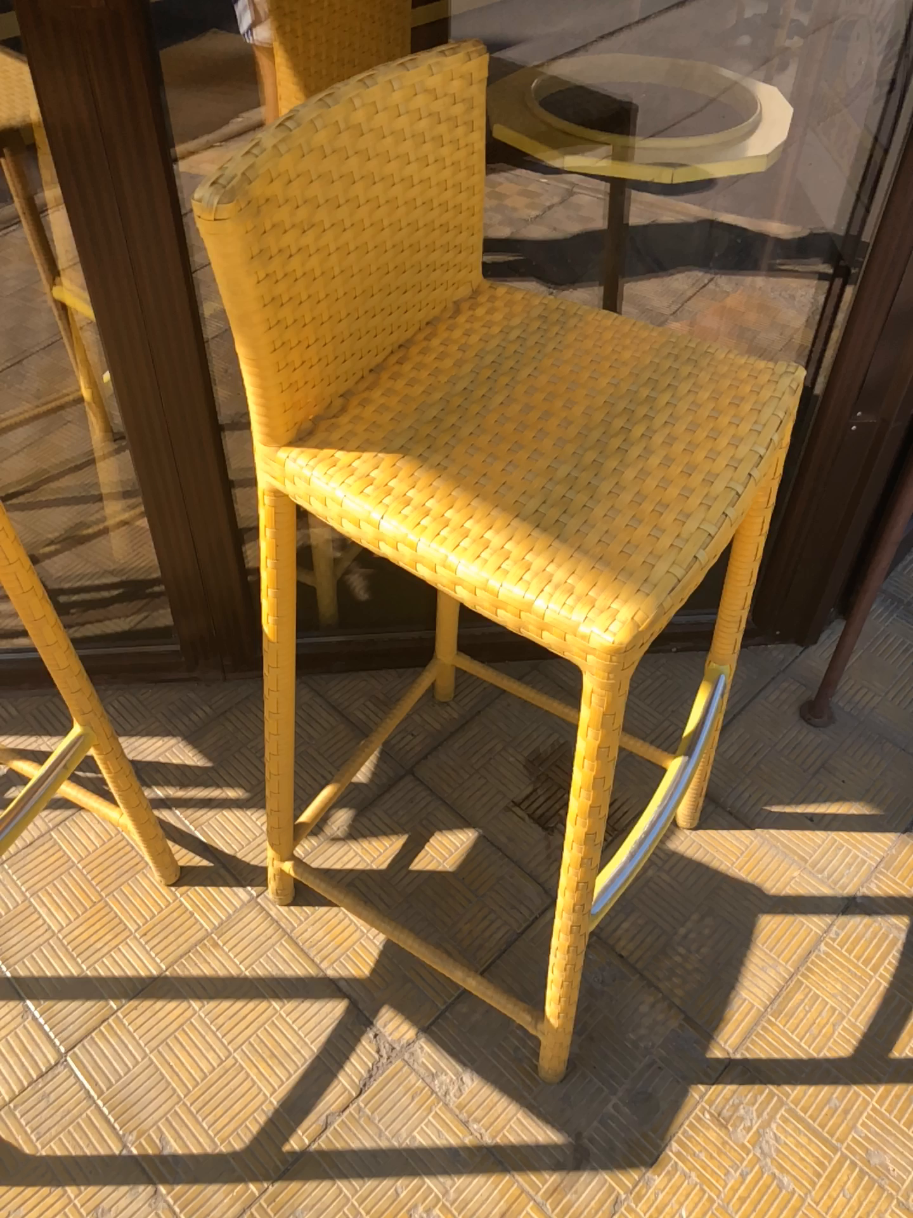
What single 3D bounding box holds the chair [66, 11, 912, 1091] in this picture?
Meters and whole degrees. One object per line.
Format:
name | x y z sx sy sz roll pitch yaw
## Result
chair | 0.068 -0.017 1.061 0.520 0.916 0.482 24 49 21
